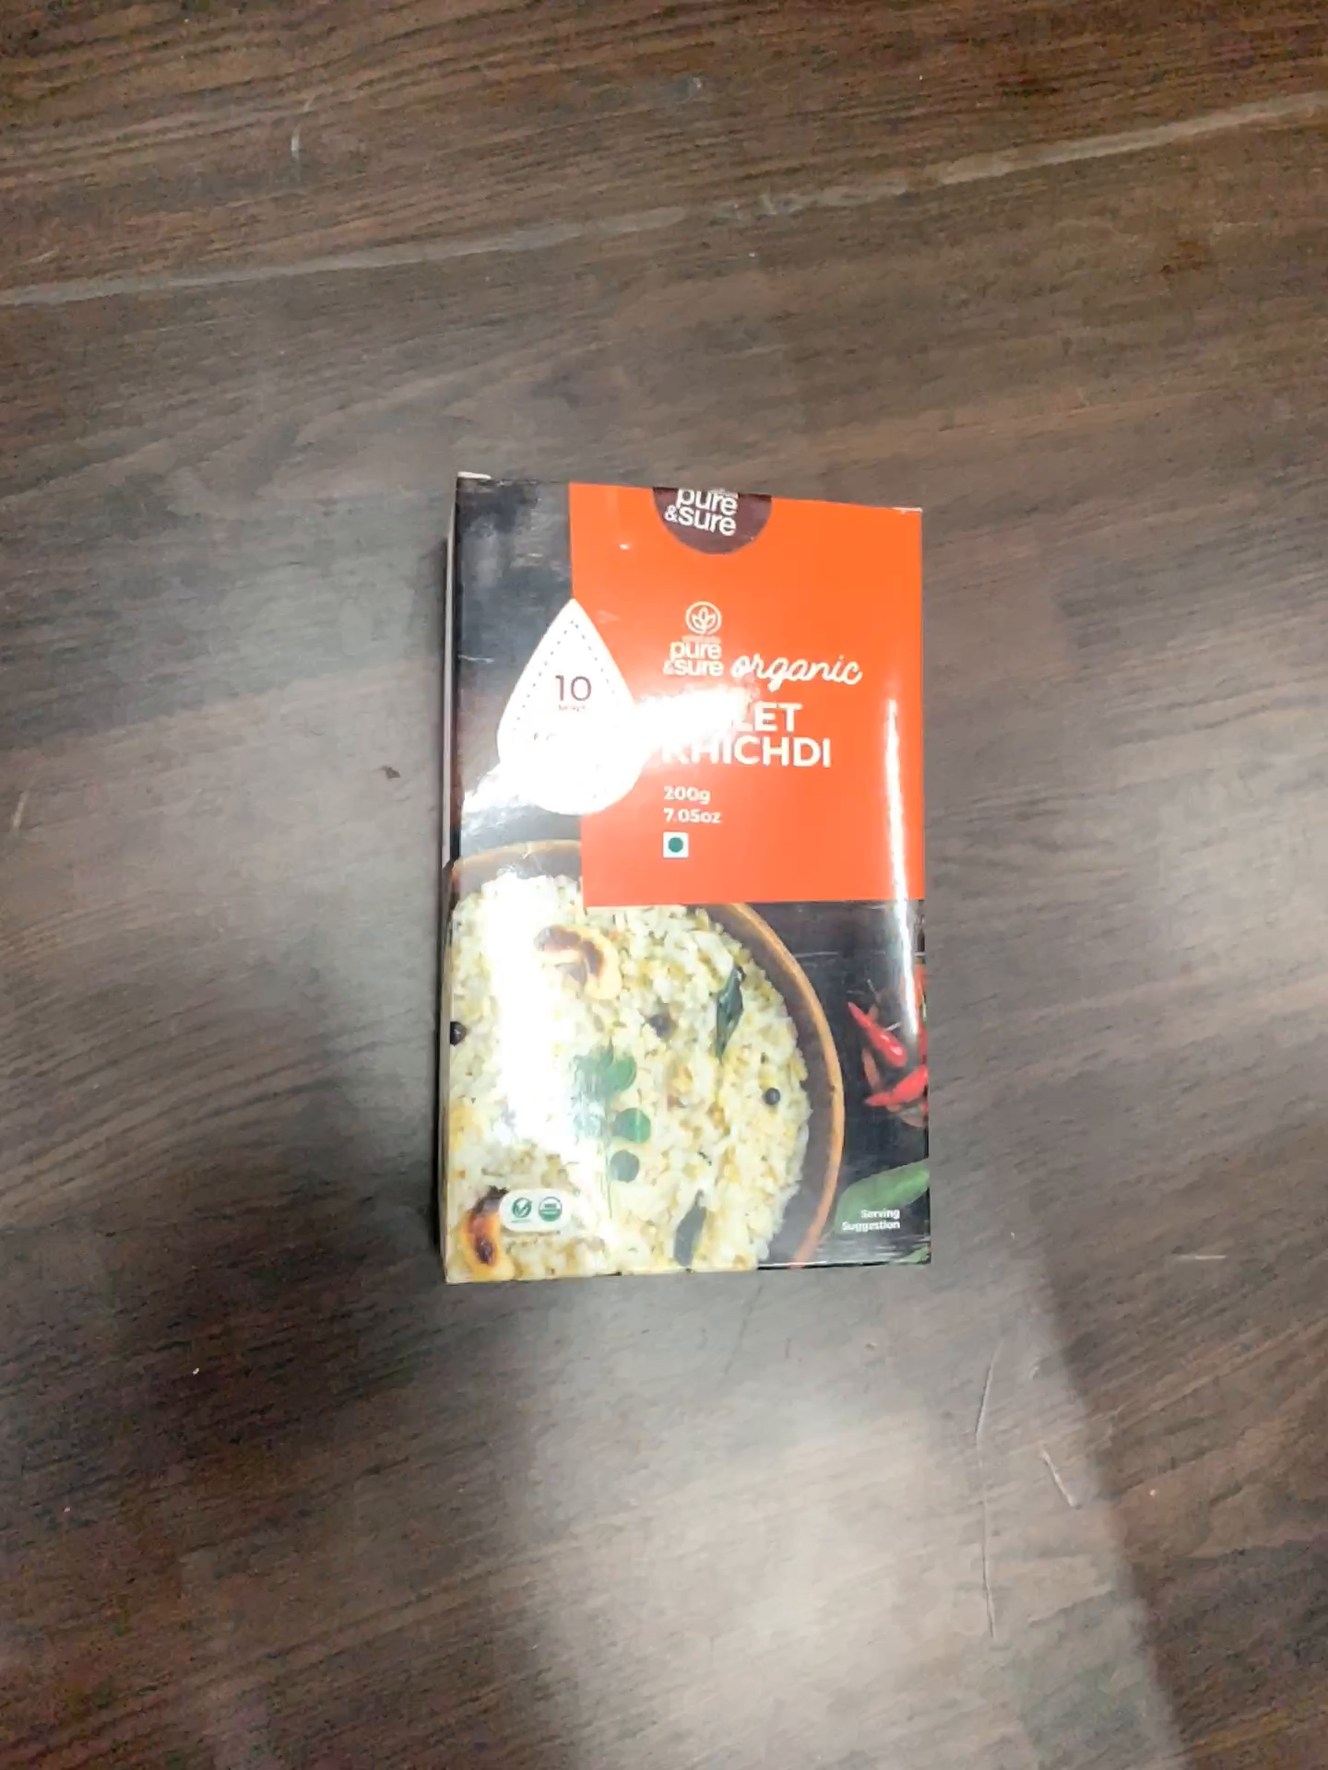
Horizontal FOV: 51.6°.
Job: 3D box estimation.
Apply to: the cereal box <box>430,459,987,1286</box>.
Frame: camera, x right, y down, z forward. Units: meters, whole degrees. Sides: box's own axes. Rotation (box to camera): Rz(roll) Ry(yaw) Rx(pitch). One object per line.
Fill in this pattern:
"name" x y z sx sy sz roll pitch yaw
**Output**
"cereal box" 0.008 -0.001 0.295 0.110 0.040 0.160 1 84 -11
